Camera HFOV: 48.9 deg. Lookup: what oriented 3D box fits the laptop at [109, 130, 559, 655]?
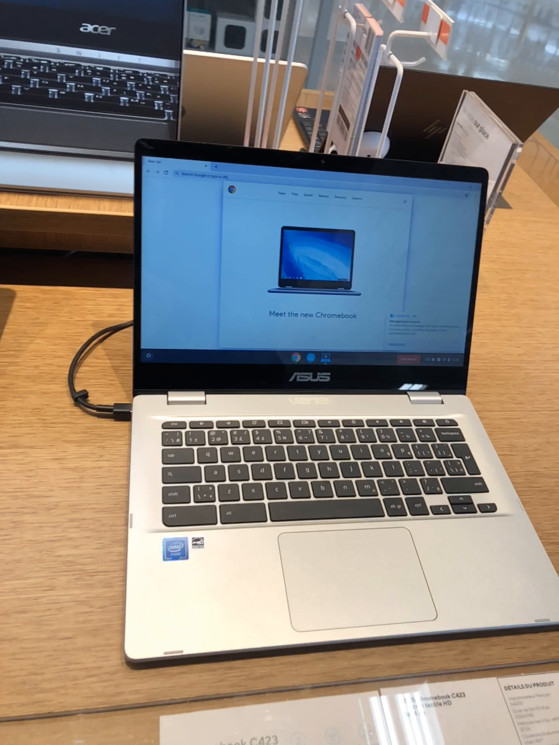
[{"bbox_3d":[0.023,-0.008,0.460,0.281,0.186,0.337,0,42,-16],"label":"laptop"}]
